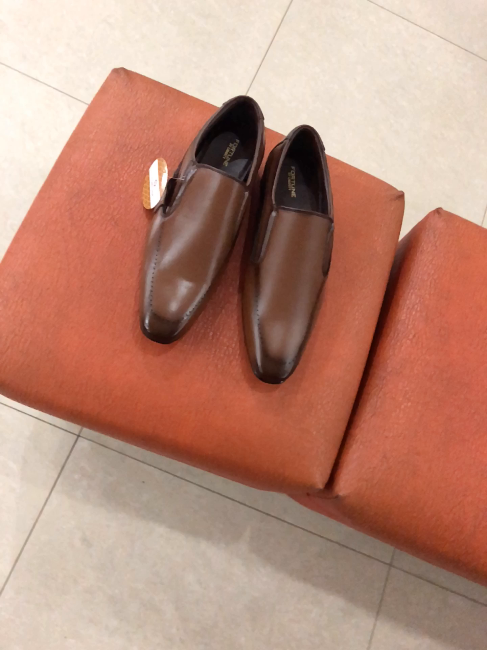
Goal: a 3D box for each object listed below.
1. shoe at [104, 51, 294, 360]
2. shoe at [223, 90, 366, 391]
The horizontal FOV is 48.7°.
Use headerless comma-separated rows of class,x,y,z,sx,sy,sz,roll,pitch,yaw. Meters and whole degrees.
shoe,-0.047,-0.126,0.592,0.099,0.128,0.293,20,71,-5
shoe,0.057,-0.089,0.593,0.101,0.108,0.295,11,72,-9
